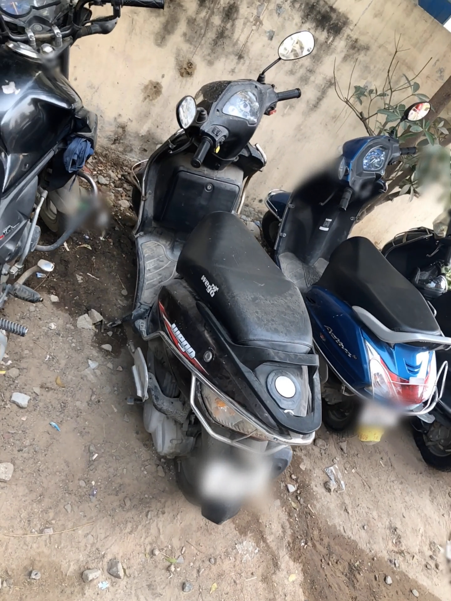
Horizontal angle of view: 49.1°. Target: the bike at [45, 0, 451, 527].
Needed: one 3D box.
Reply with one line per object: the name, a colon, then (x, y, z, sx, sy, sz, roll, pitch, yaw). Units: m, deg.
bike: (-0.126, -0.324, 1.686, 0.528, 1.114, 1.565, 12, 41, -35)
